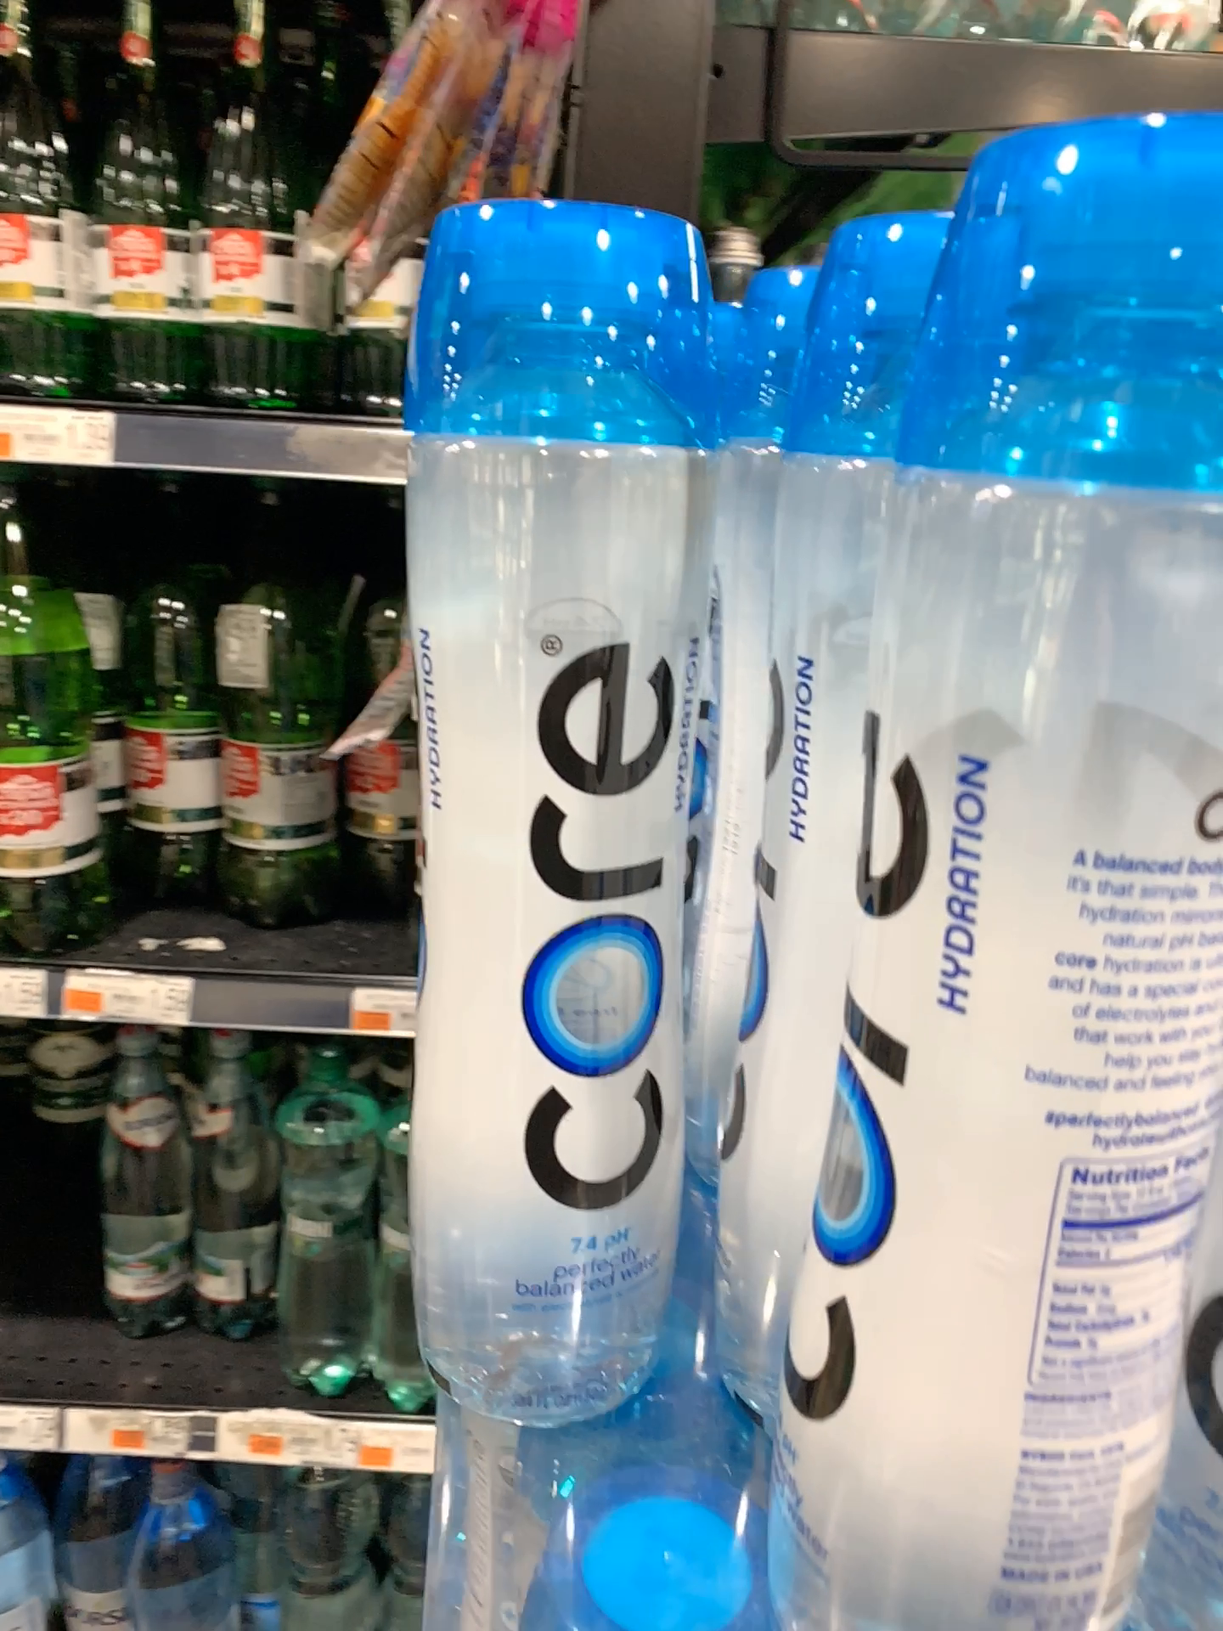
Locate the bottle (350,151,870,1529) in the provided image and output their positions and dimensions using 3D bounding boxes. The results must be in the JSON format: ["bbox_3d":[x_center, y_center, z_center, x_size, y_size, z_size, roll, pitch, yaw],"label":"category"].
[{"bbox_3d":[-0.005,0.014,0.295,0.090,0.289,0.080,4,16,3],"label":"bottle"}]
